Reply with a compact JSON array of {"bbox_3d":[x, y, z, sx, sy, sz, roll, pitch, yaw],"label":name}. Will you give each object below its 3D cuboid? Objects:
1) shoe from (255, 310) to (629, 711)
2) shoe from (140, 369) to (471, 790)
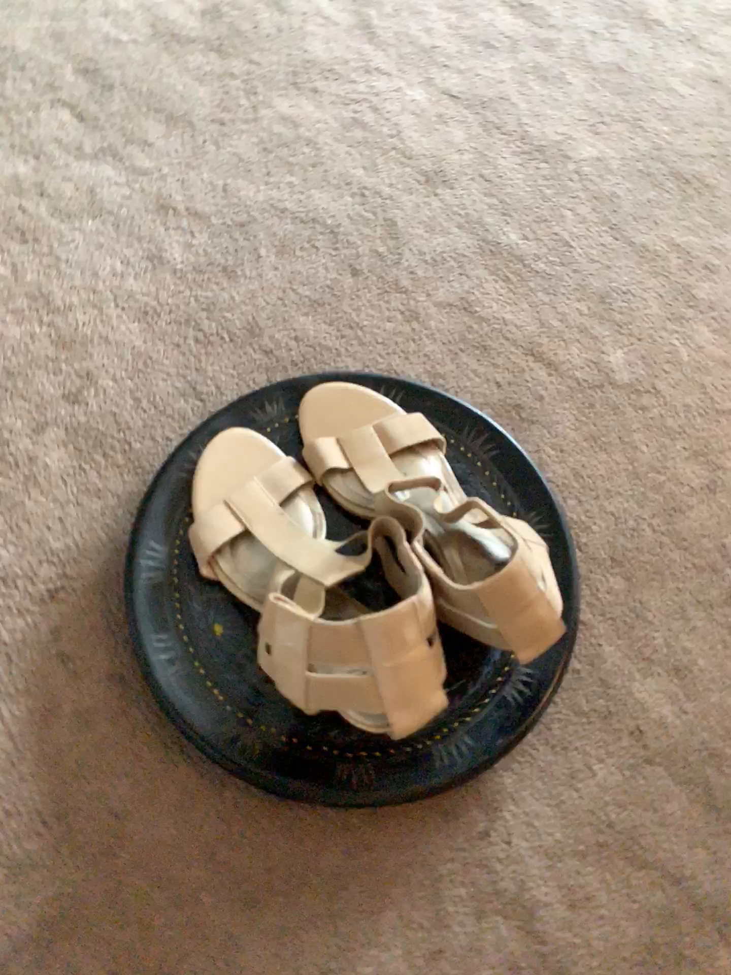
[{"bbox_3d":[0.039,0.005,0.470,0.100,0.090,0.231,-34,57,-10],"label":"shoe"},{"bbox_3d":[-0.041,0.044,0.441,0.090,0.089,0.221,-26,55,-16],"label":"shoe"}]
